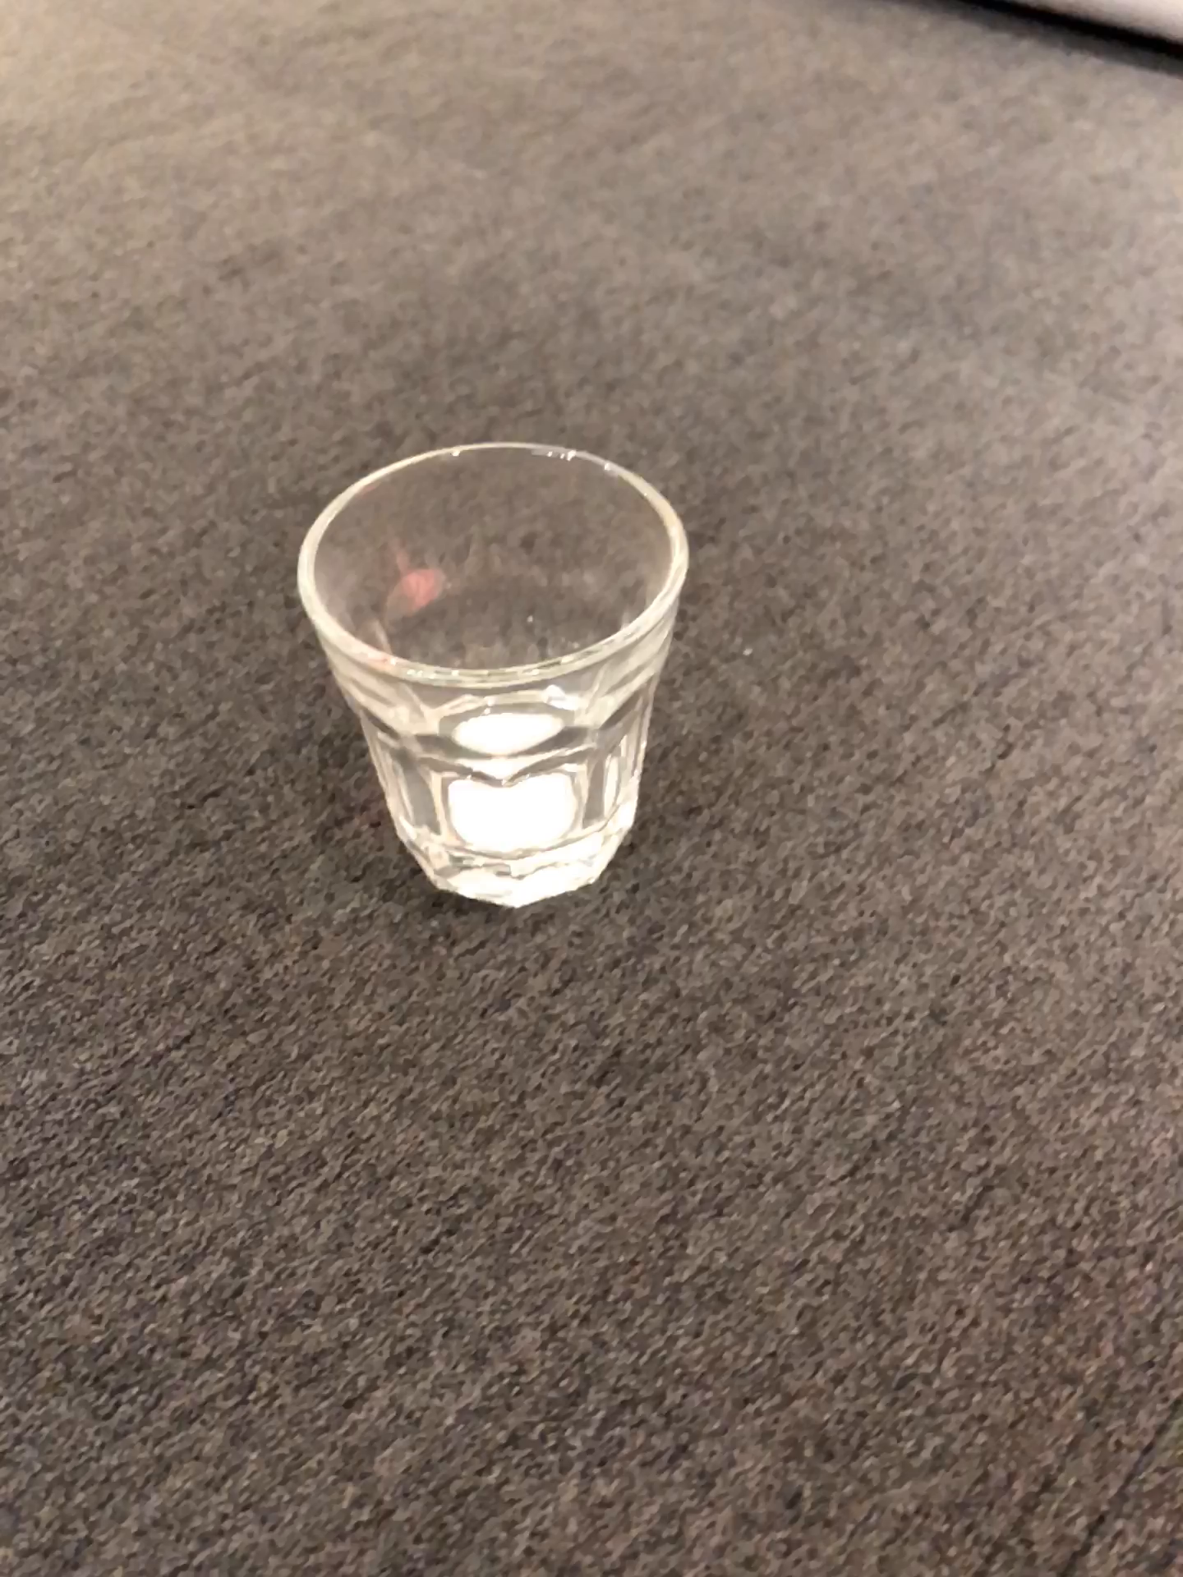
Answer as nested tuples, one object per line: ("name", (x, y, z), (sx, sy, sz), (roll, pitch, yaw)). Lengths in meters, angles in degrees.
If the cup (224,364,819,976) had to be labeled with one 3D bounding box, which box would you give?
("cup", (-0.007, -0.019, 0.193), (0.060, 0.050, 0.060), (1, 45, -1))
